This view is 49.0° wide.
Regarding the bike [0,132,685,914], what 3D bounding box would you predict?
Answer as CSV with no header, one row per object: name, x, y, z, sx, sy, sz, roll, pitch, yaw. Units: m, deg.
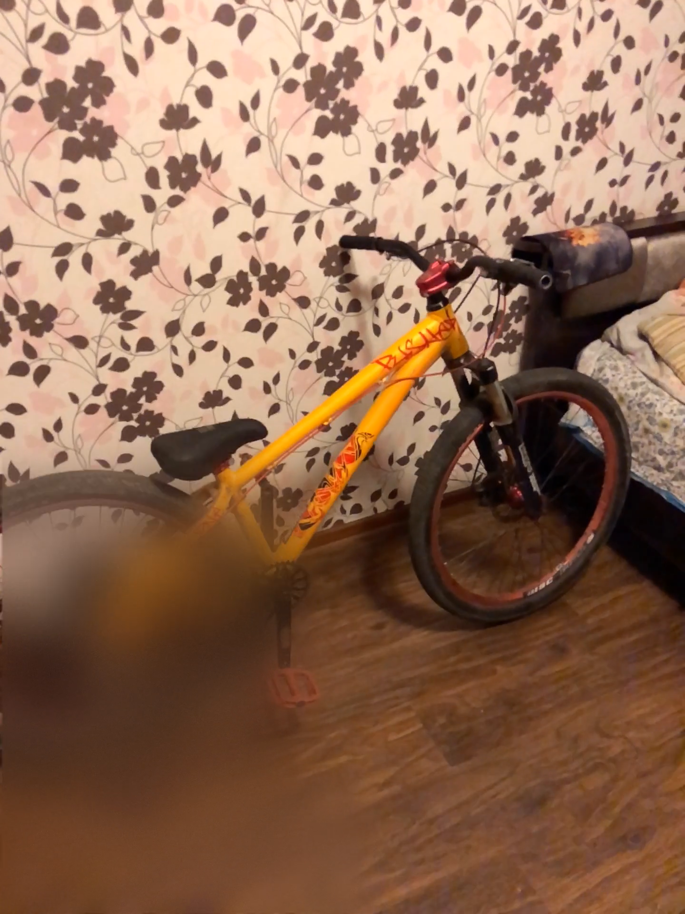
bike,-0.054,0.037,1.568,1.676,1.005,0.664,-16,35,-17
